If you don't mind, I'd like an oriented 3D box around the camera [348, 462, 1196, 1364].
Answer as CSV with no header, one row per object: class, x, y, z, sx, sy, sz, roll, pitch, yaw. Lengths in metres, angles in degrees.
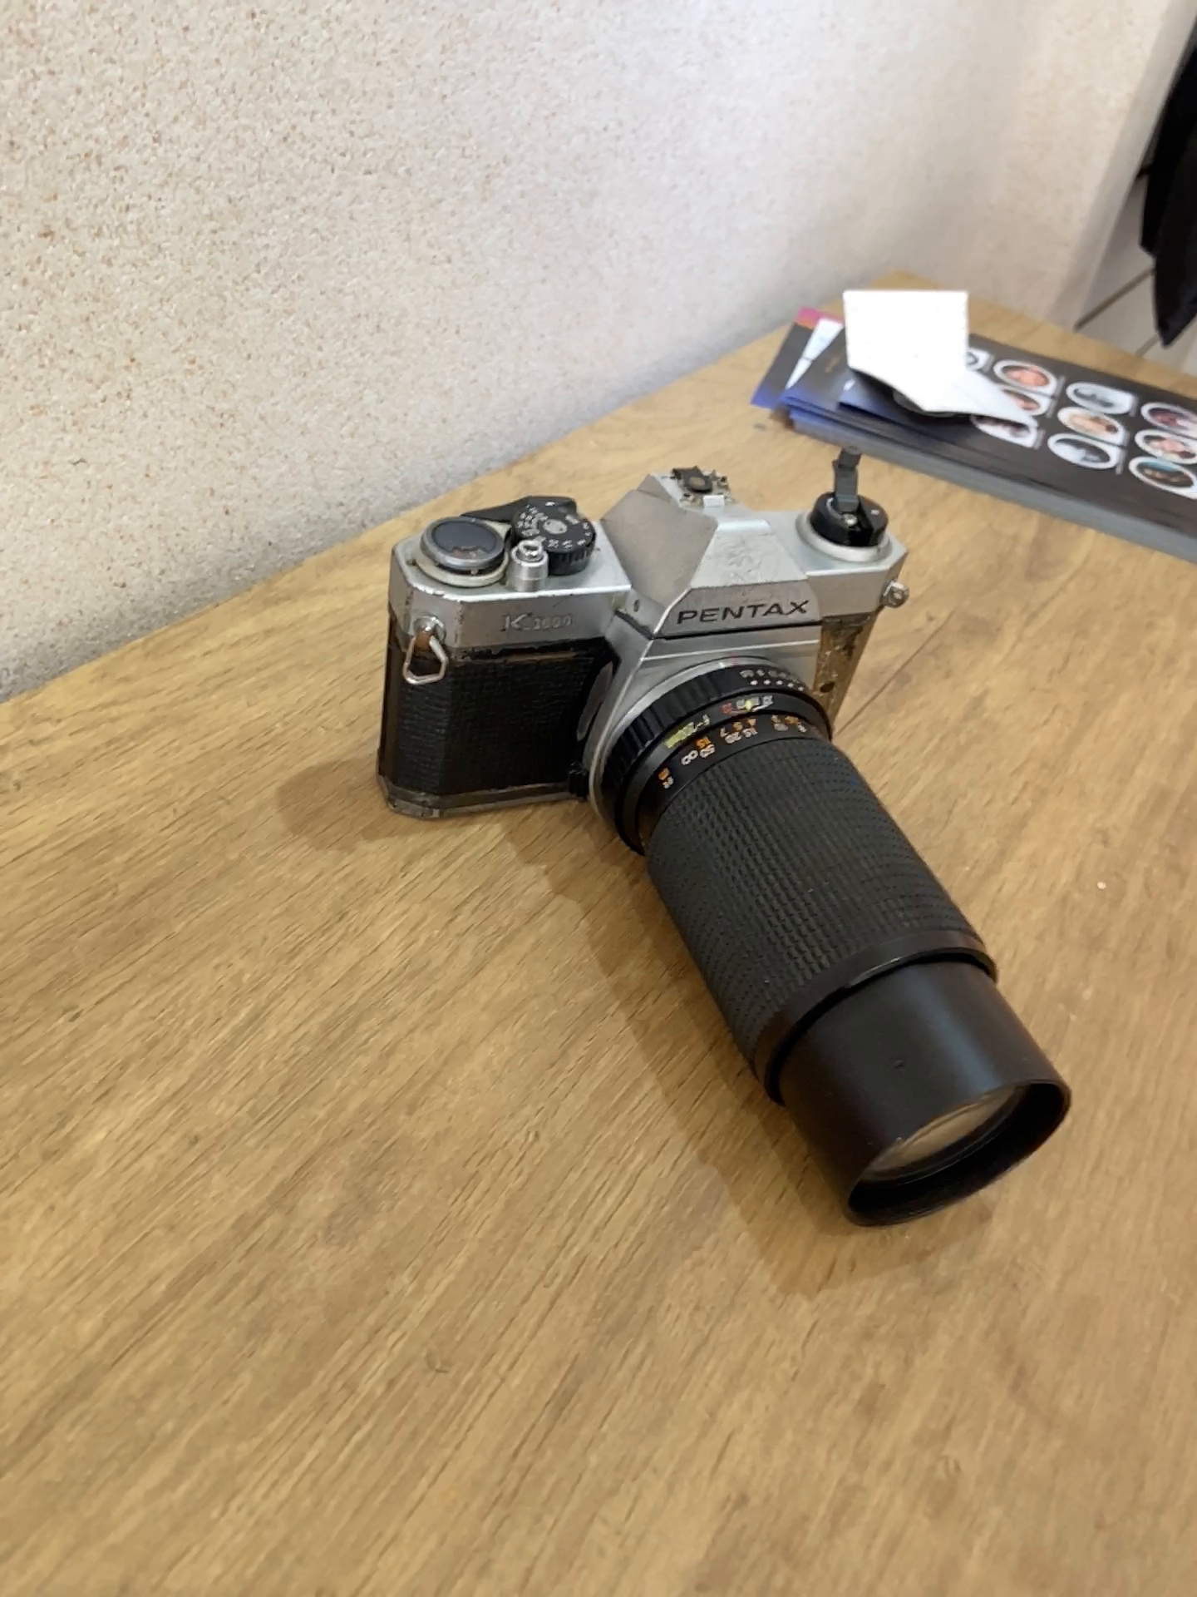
camera,0.039,0.004,0.291,0.150,0.079,0.181,-10,45,-23
